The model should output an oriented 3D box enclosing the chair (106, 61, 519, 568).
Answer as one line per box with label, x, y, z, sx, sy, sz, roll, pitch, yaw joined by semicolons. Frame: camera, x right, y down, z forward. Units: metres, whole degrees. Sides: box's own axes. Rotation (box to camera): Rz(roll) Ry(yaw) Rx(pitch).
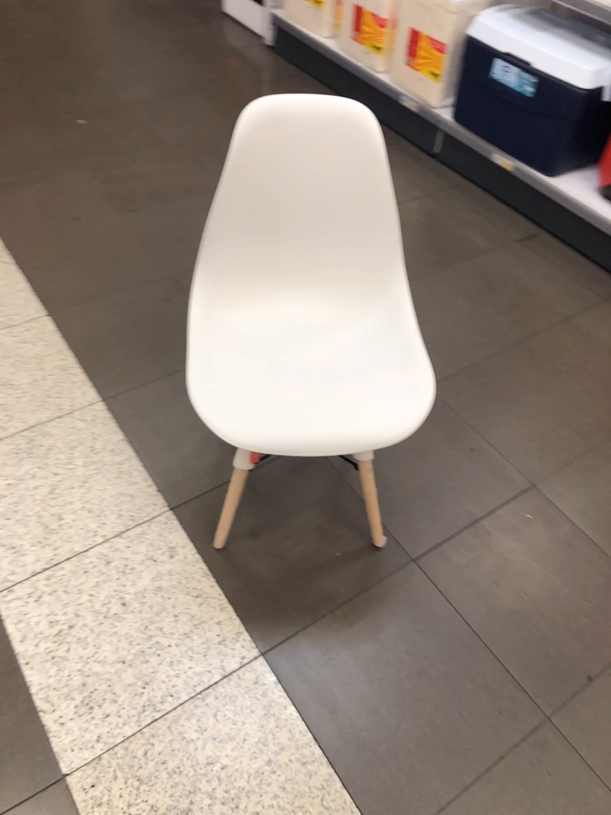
chair;-0.017;-0.139;1.314;0.520;0.794;0.544;2;46;-3
